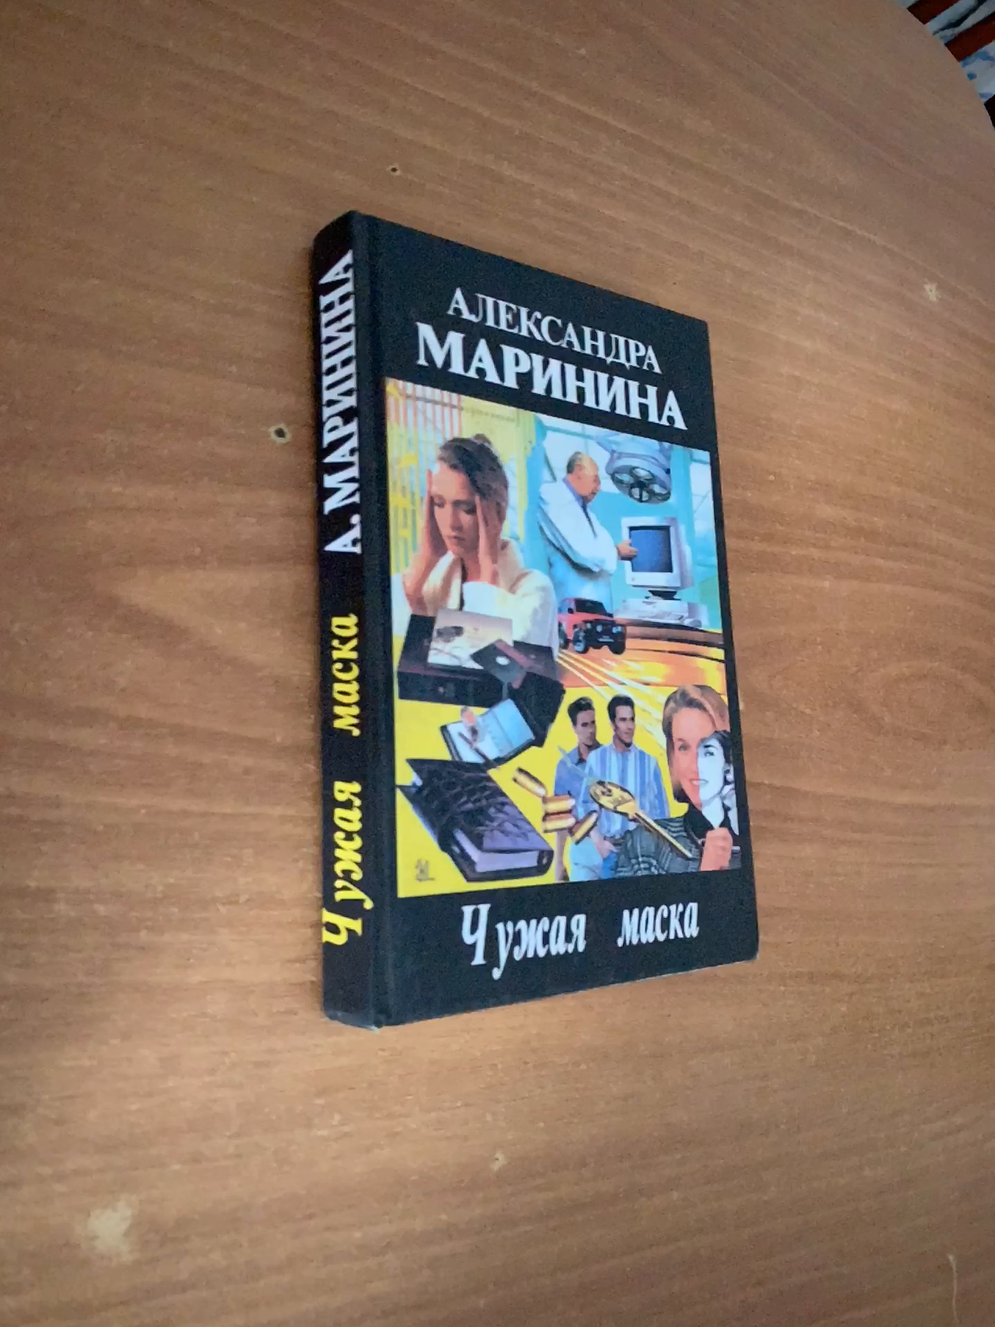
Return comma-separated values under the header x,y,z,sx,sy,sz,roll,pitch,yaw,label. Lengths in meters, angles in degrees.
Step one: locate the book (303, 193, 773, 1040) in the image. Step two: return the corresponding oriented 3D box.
x,y,z,sx,sy,sz,roll,pitch,yaw,label
0.014,-0.012,0.286,0.131,0.030,0.200,3,80,-34,book
